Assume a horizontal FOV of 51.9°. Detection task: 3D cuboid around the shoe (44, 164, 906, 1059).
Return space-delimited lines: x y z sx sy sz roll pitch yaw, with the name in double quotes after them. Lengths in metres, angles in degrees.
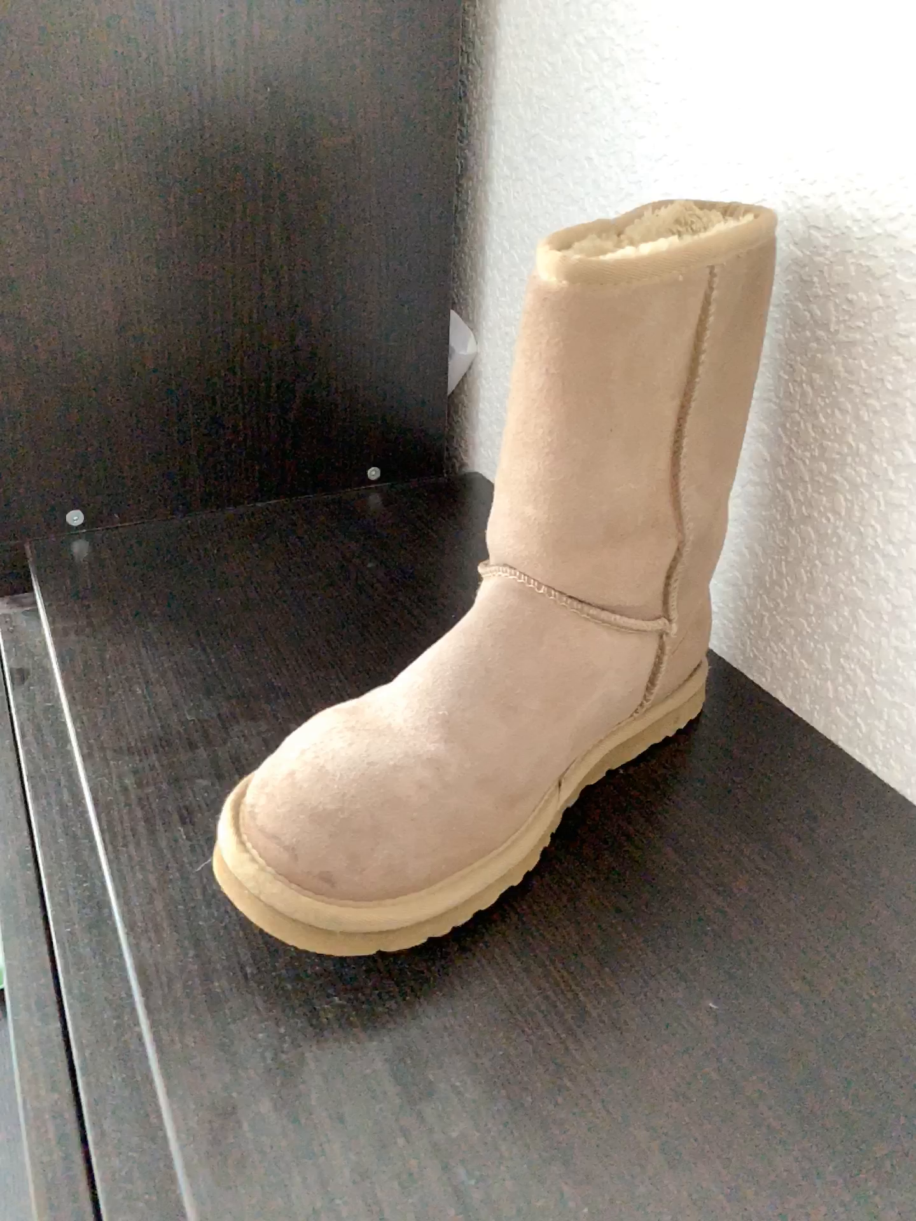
0.022 -0.027 0.347 0.261 0.229 0.116 -25 40 -38 "shoe"
